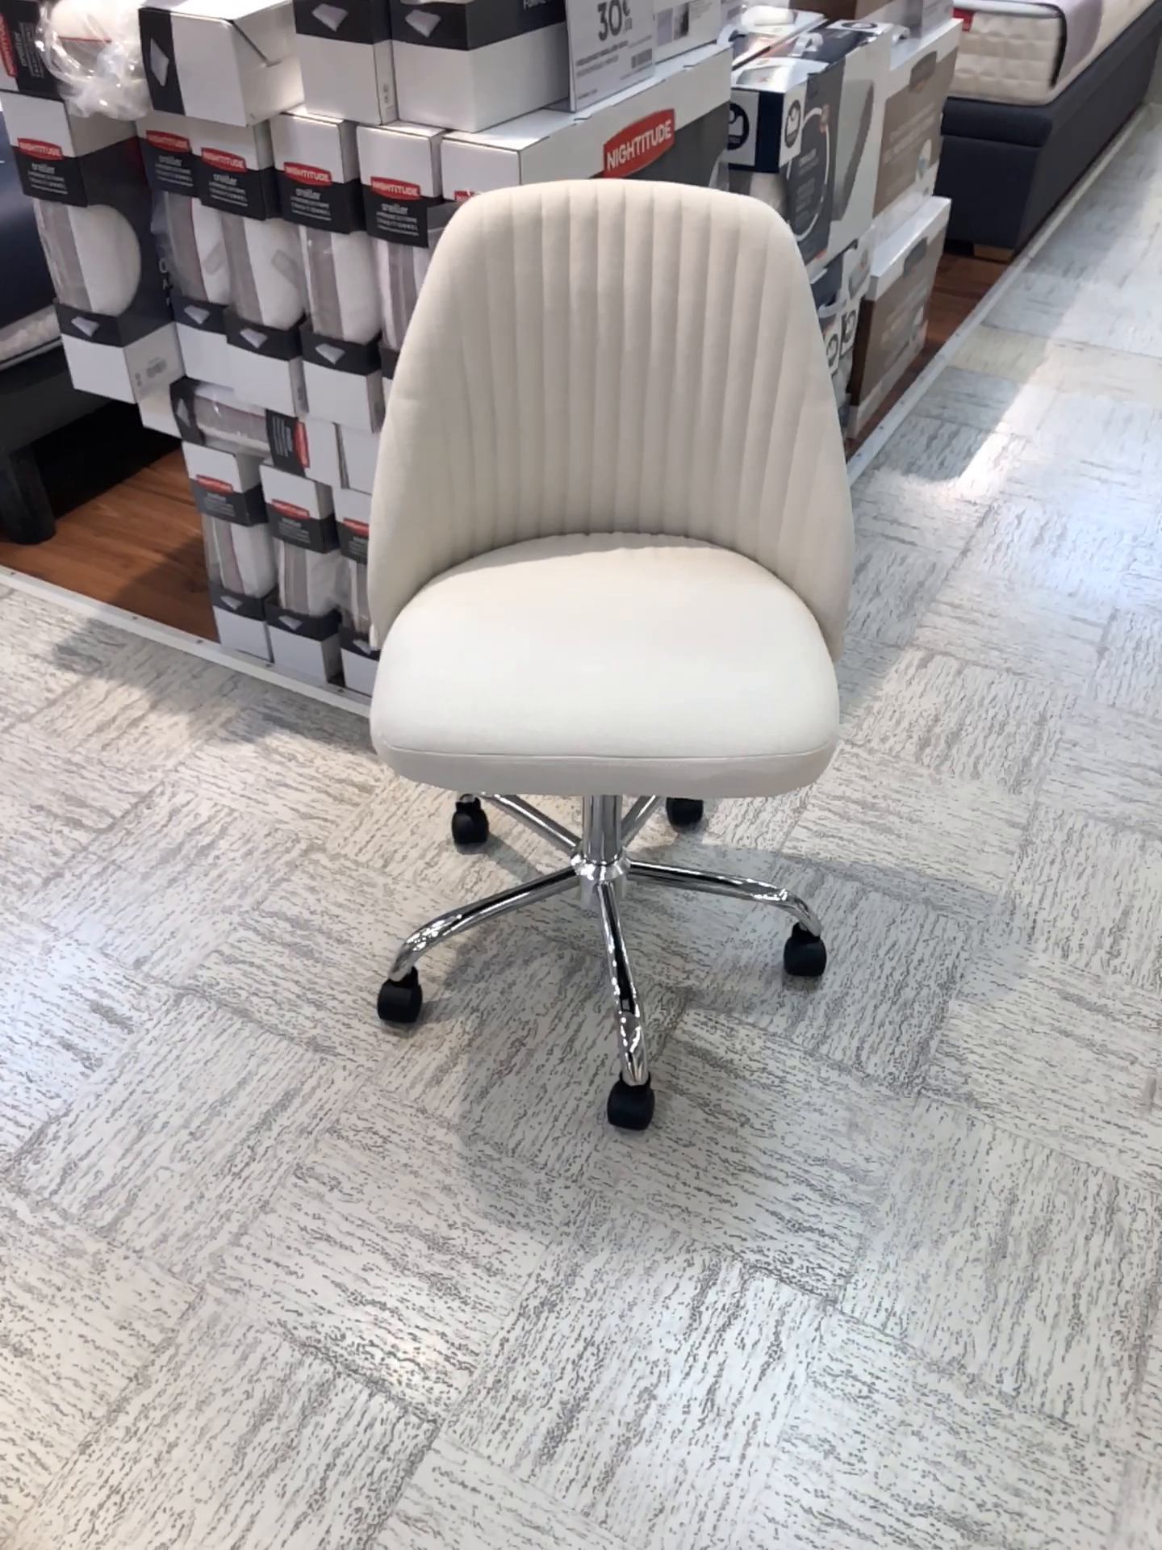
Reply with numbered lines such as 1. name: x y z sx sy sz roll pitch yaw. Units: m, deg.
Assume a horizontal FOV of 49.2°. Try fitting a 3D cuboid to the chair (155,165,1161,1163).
1. chair: 0.044 -0.121 1.333 0.700 0.785 0.634 -3 41 -5
